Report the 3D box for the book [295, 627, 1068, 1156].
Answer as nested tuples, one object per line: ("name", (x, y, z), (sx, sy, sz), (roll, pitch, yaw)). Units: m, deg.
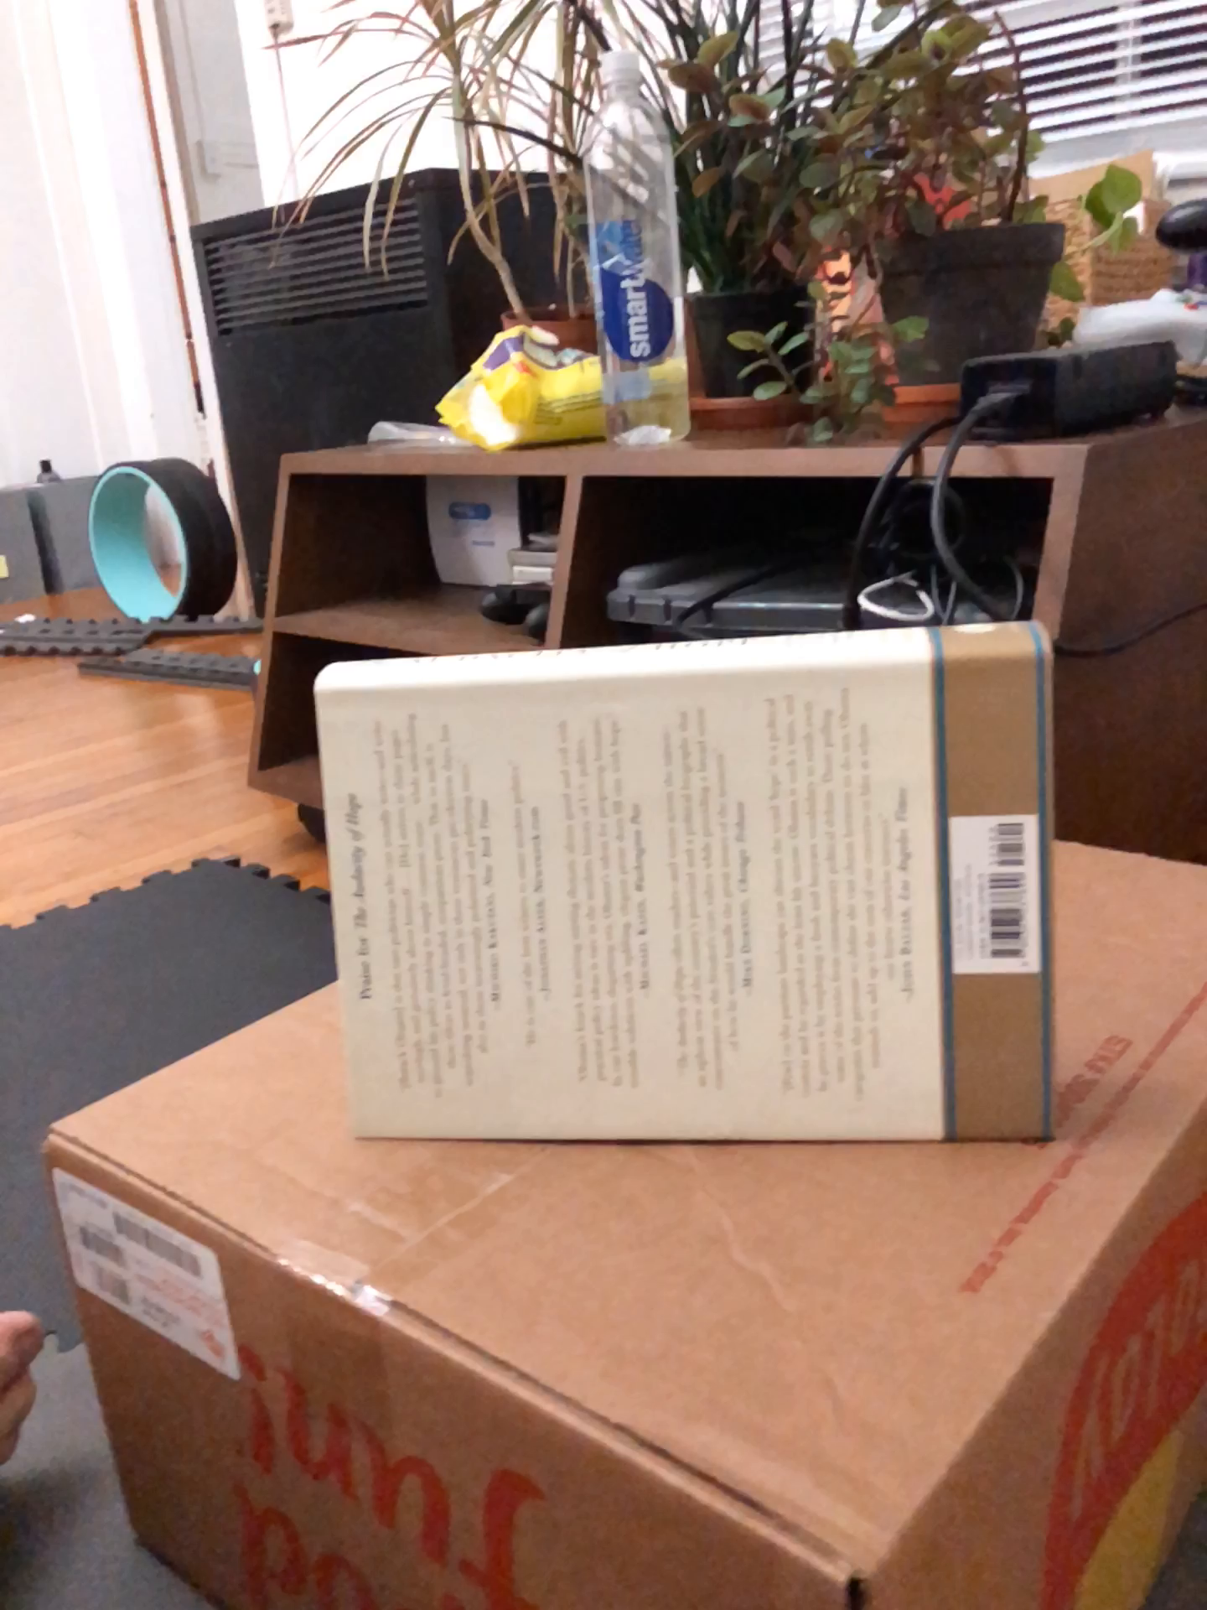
("book", (0.027, 0.028, 0.469), (0.250, 0.170, 0.060), (-1, 8, 8))
